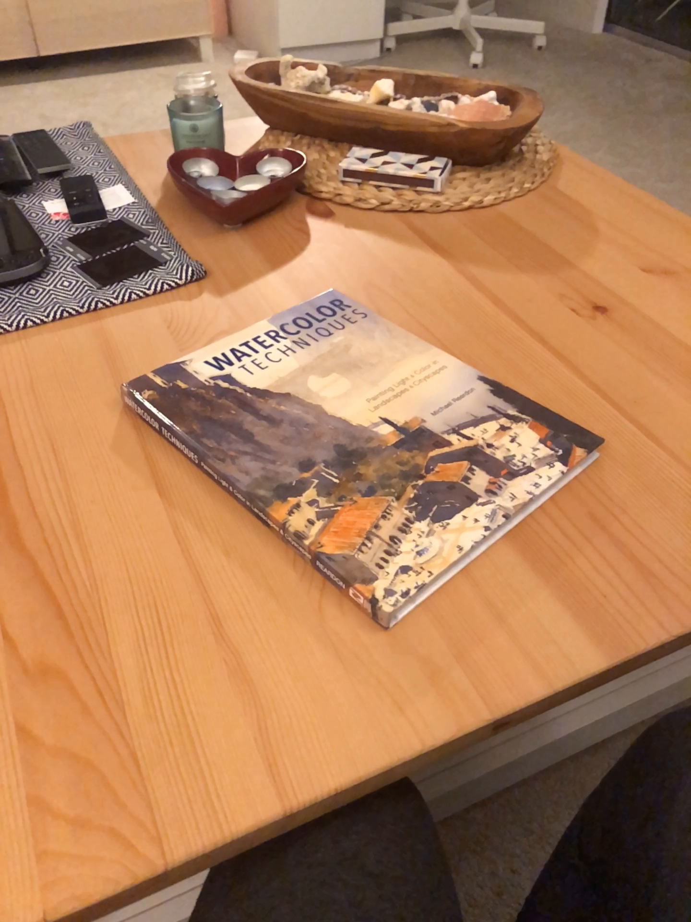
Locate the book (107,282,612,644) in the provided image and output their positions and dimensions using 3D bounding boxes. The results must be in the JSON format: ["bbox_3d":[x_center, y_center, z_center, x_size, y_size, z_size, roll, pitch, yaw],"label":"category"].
[{"bbox_3d":[0.004,-0.028,0.531,0.214,0.020,0.279,-33,52,-32],"label":"book"}]
